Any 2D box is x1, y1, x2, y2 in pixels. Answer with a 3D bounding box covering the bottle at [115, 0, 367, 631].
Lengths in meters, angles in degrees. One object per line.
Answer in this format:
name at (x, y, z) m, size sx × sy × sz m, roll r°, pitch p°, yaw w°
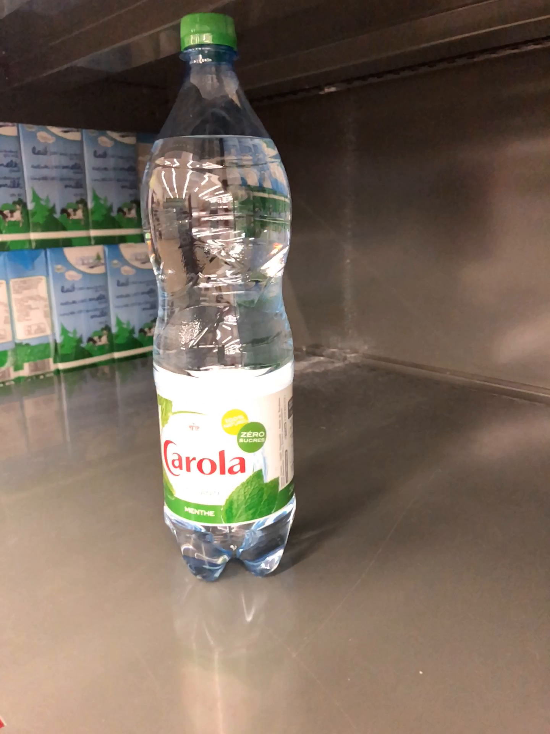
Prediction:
bottle at (-0.009, -0.033, 0.365) m, size 0.100 × 0.339 × 0.100 m, roll -1°, pitch 13°, yaw 0°
